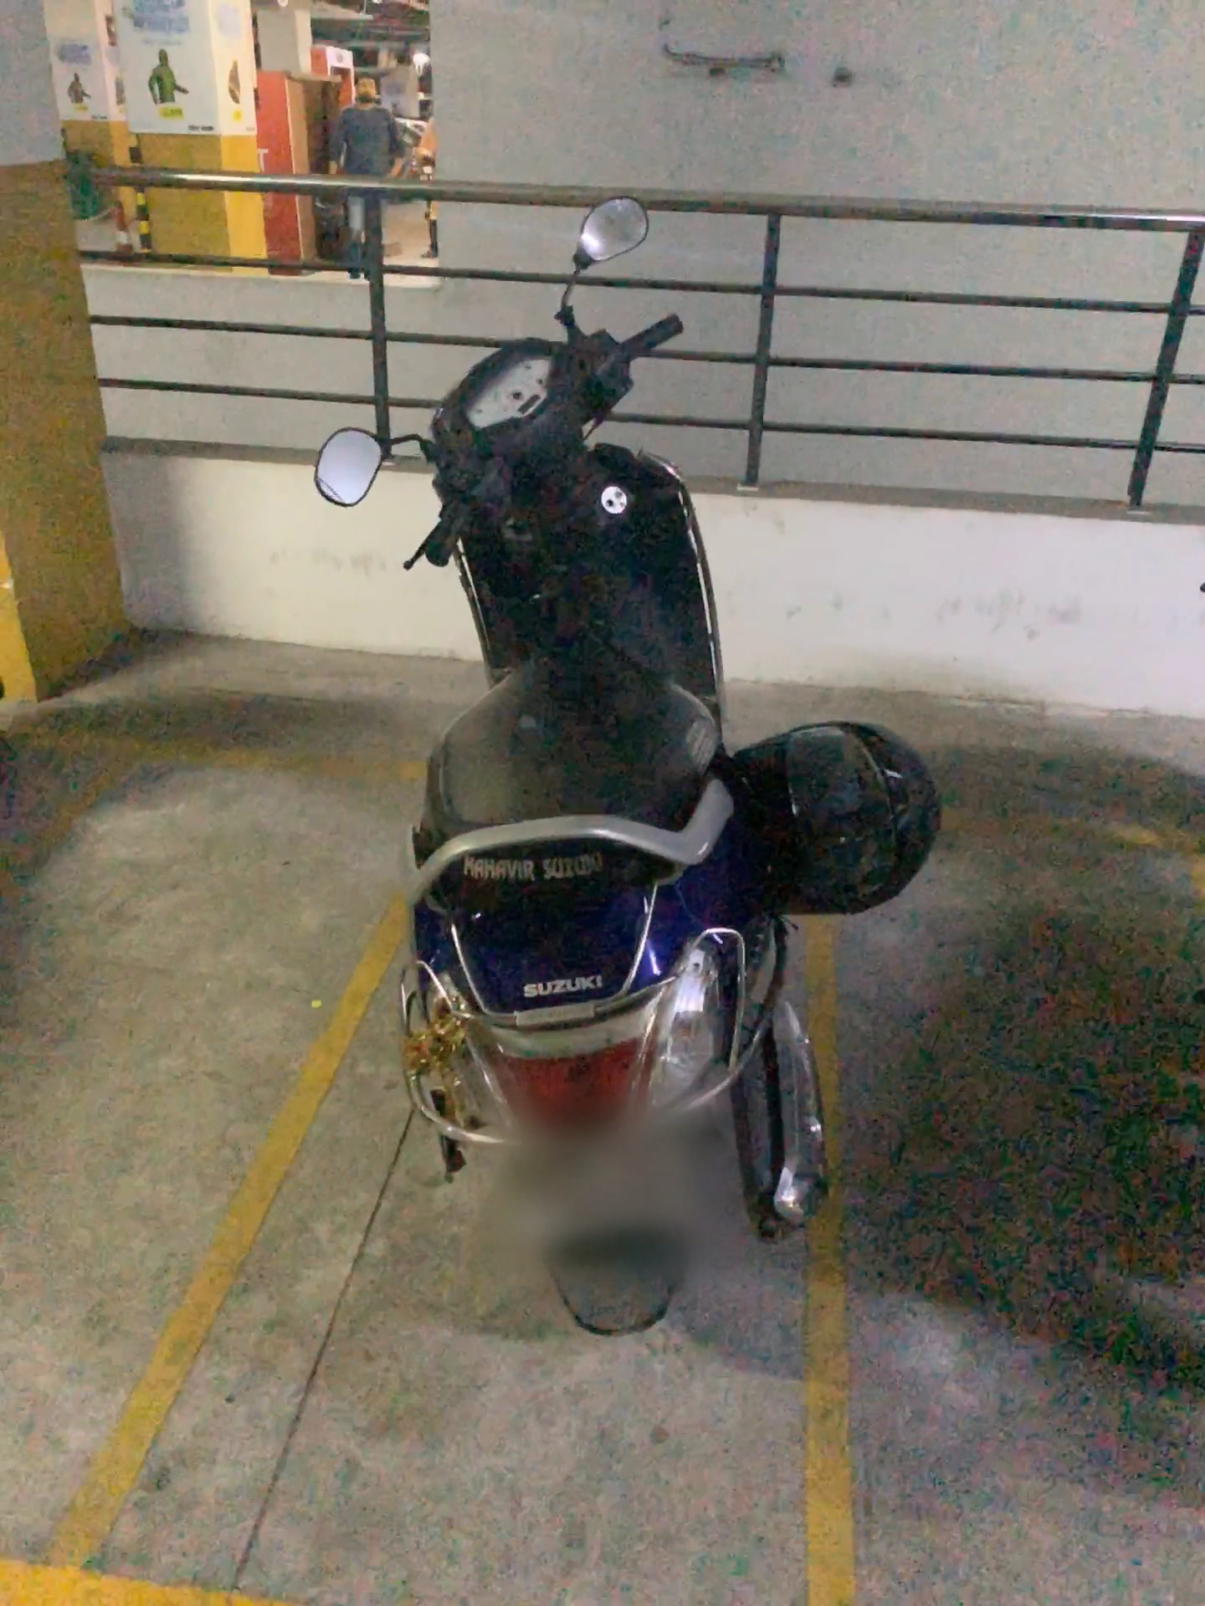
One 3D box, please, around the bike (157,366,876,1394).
[{"bbox_3d":[-0.150,-0.041,2.008,0.621,1.157,1.481,0,25,-5],"label":"bike"}]
